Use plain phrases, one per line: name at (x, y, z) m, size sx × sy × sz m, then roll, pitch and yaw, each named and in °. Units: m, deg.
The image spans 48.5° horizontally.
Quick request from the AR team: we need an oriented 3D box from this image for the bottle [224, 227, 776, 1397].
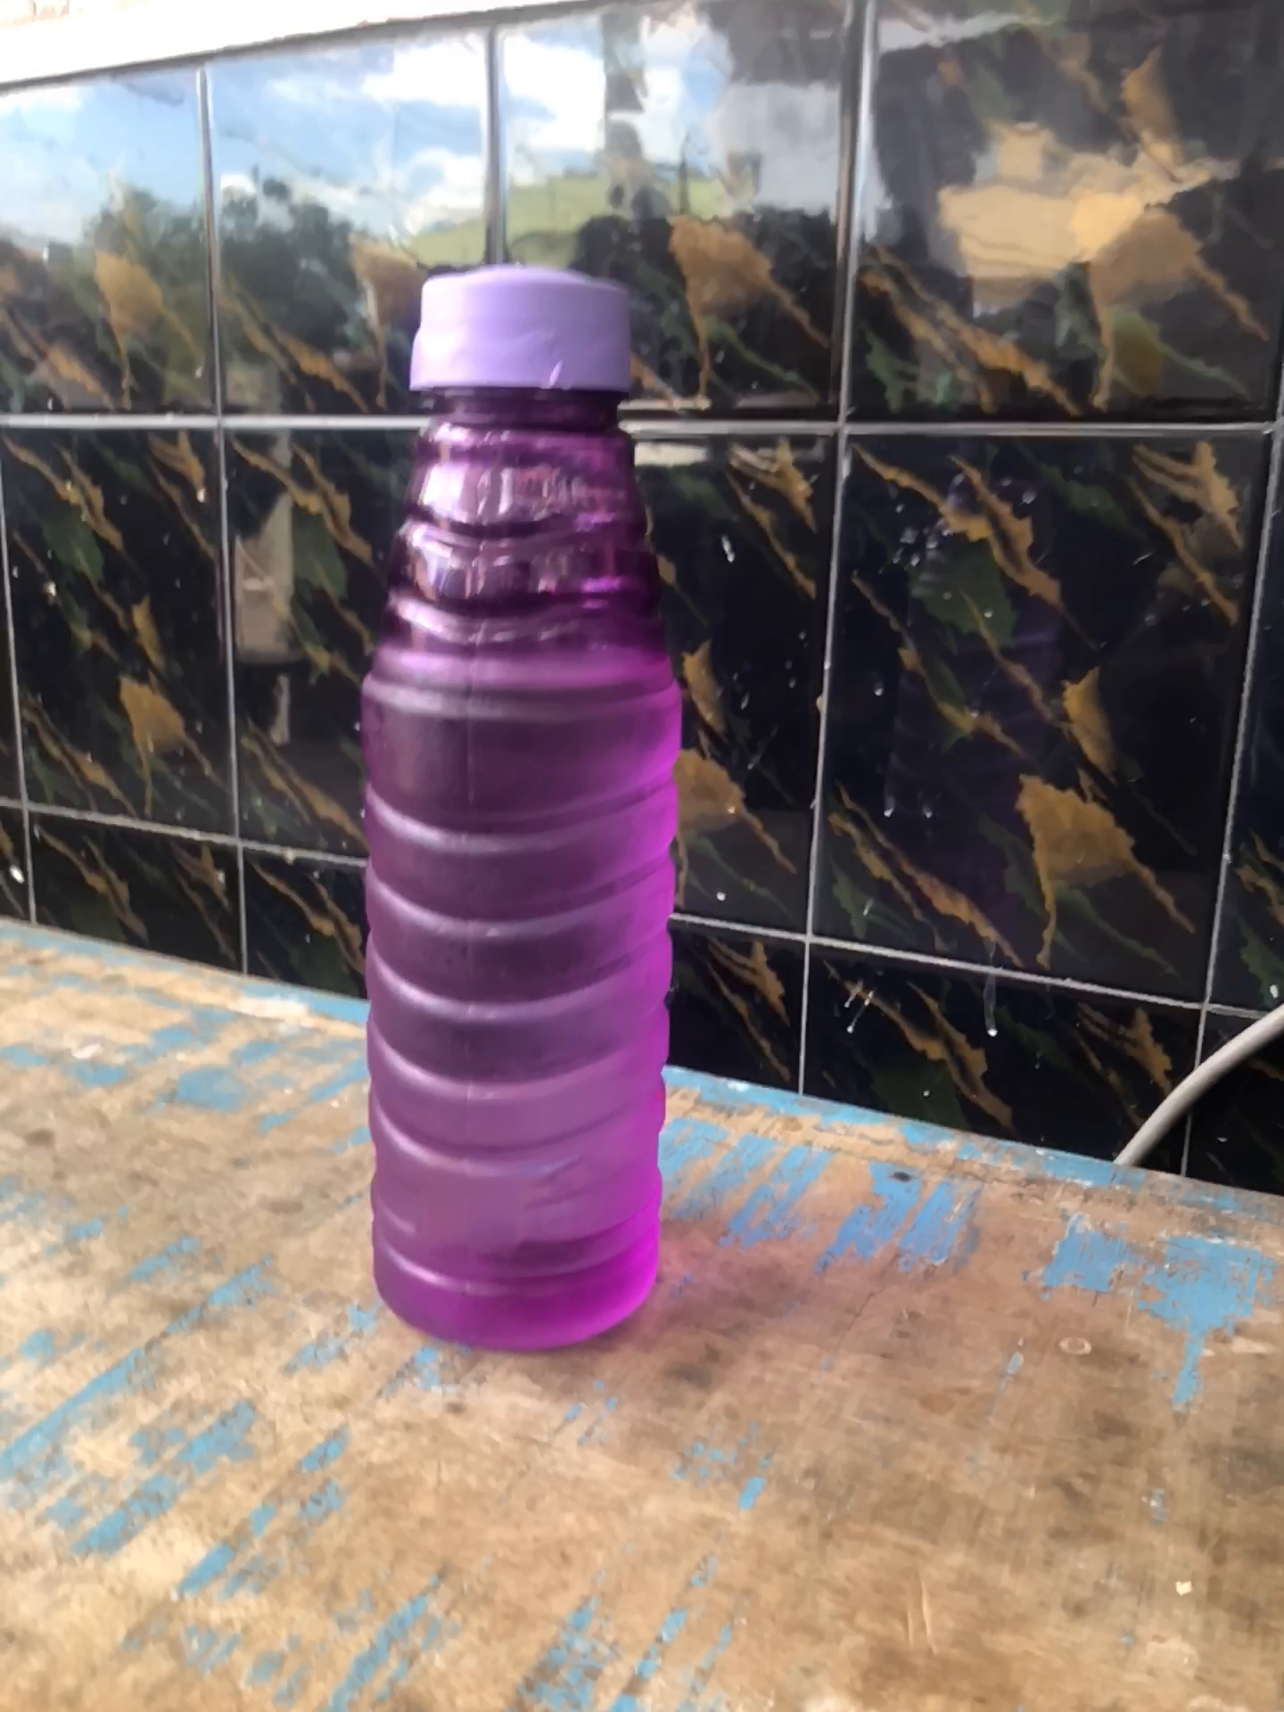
bottle at (-0.032, -0.012, 0.341) m, size 0.090 × 0.239 × 0.080 m, roll 11°, pitch 18°, yaw 36°
